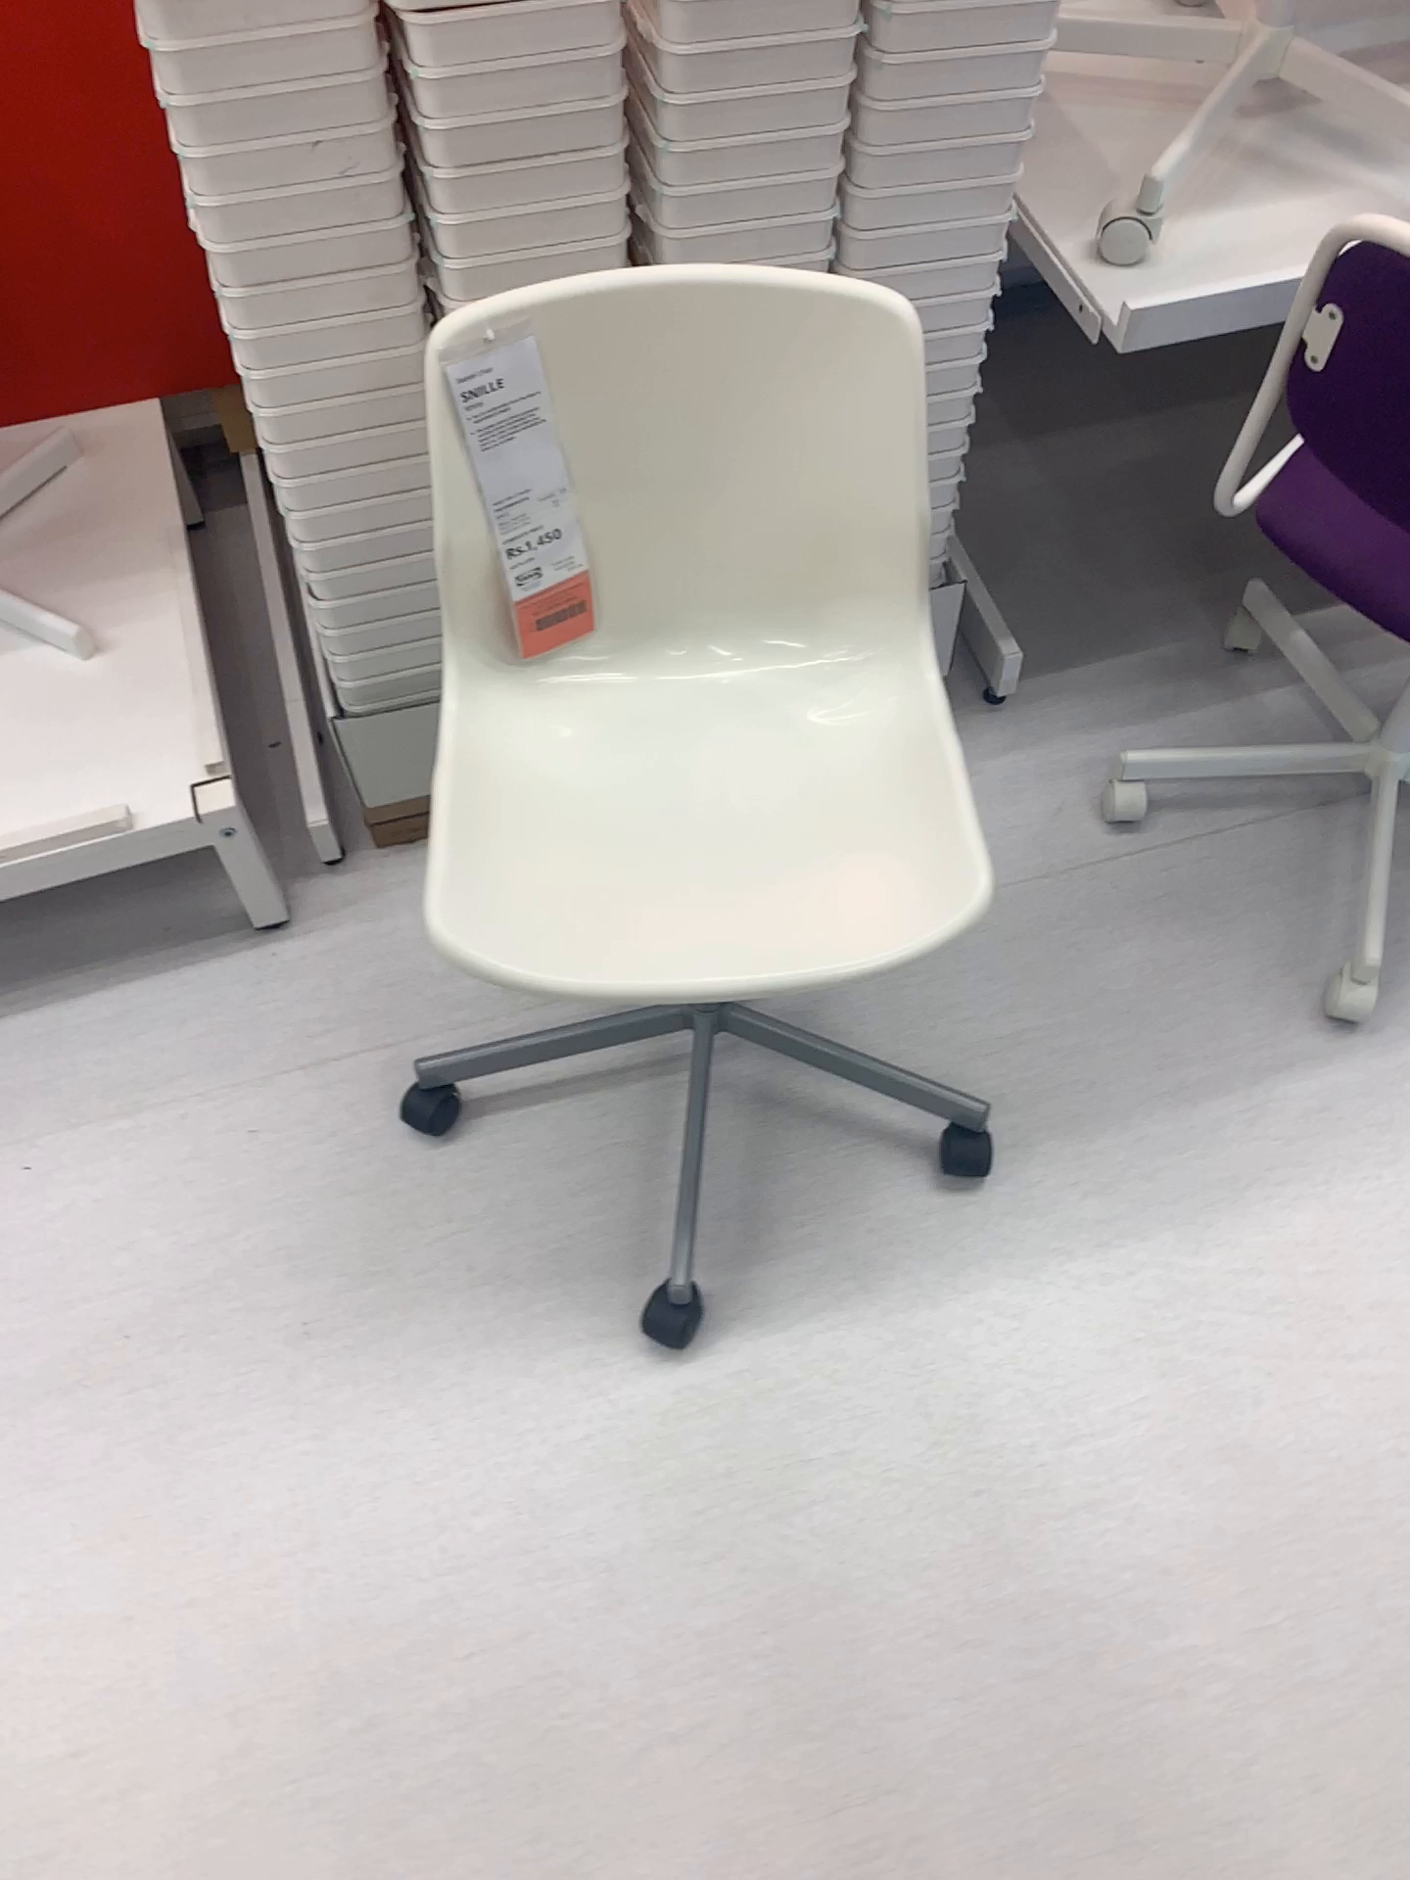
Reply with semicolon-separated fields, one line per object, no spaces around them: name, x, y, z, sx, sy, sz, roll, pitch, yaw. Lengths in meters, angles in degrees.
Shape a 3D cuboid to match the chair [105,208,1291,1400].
chair;-0.031;-0.087;1.246;0.640;0.688;0.682;-7;56;-3
